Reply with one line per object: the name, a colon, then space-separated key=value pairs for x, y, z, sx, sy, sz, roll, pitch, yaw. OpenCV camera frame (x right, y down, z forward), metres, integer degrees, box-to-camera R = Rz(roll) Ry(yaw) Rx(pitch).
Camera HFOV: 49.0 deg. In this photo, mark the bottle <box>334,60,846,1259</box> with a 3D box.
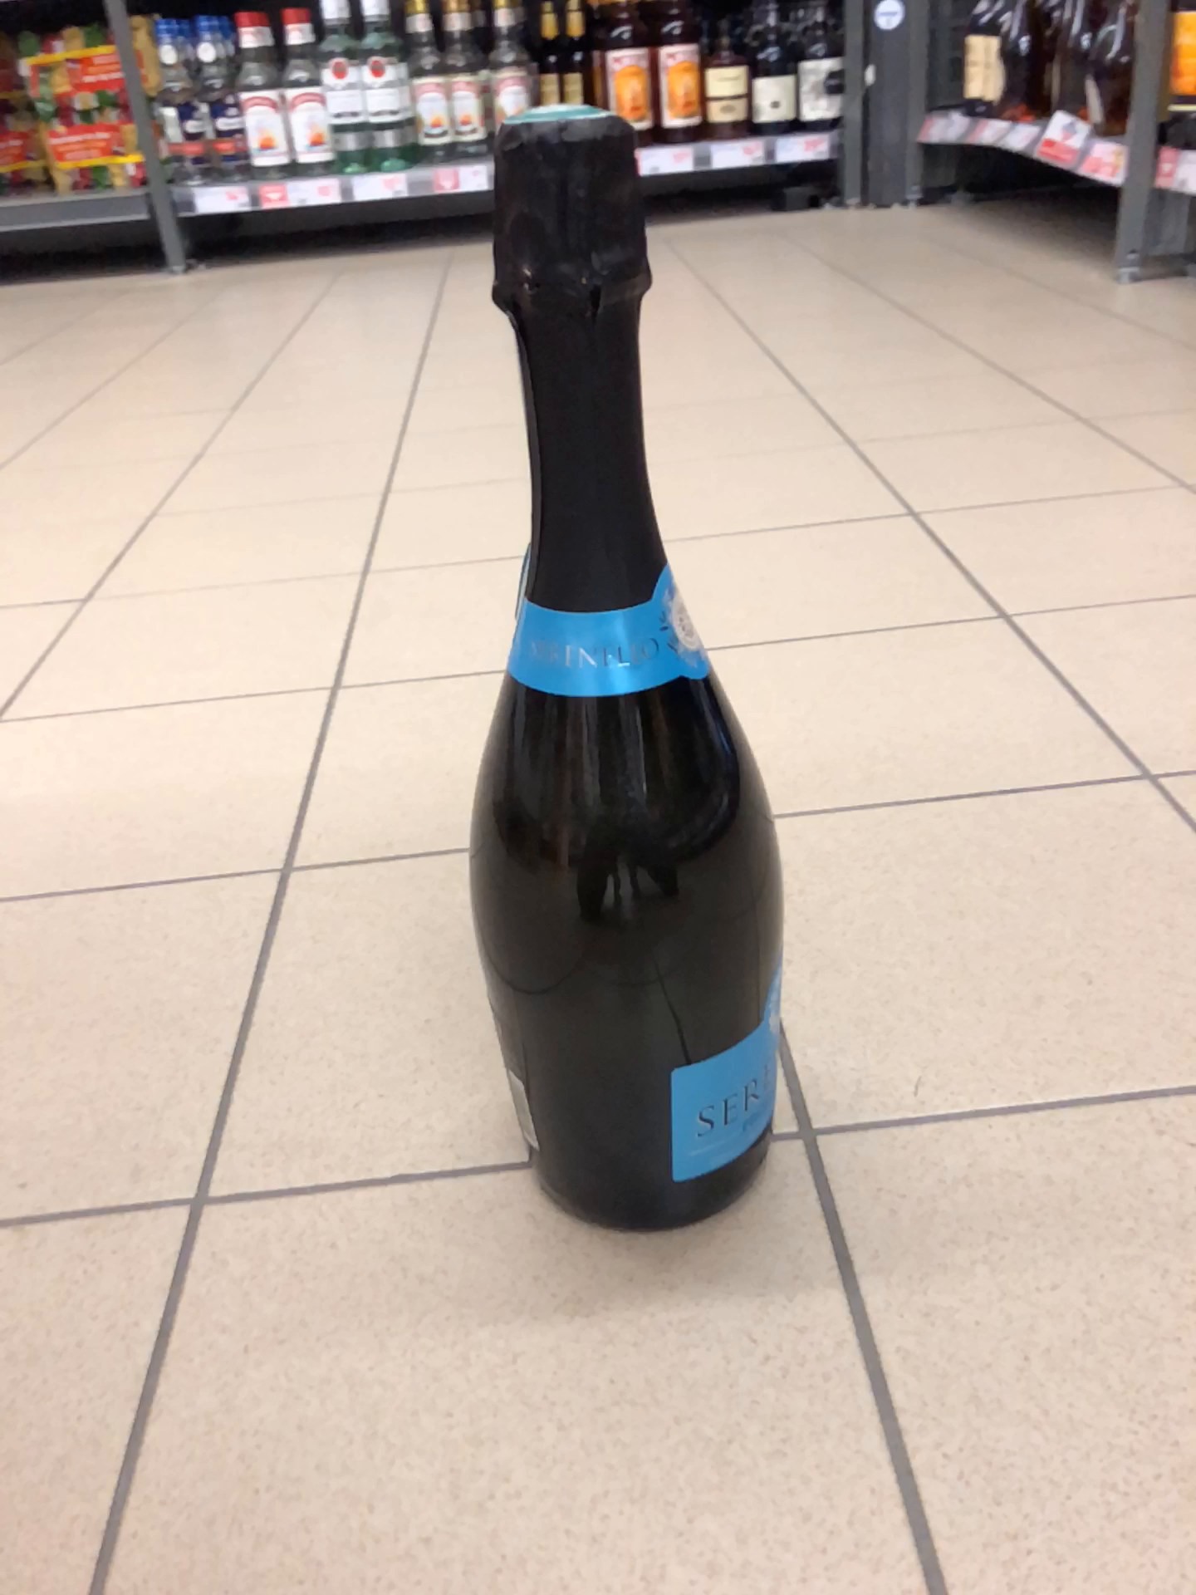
bottle: x=0.017 y=-0.025 z=0.357 sx=0.090 sy=0.298 sz=0.101 roll=2 pitch=30 yaw=14
